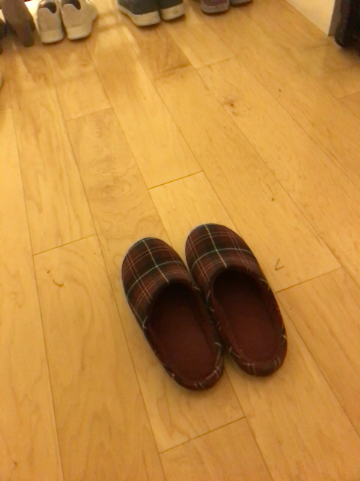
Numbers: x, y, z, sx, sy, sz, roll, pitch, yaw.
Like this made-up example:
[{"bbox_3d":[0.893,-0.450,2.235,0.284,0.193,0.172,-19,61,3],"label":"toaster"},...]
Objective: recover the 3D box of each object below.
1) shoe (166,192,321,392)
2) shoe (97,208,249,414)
[{"bbox_3d":[0.081,0.063,0.591,0.120,0.070,0.281,-18,53,-6],"label":"shoe"},{"bbox_3d":[-0.020,0.090,0.585,0.120,0.070,0.281,-22,54,-10],"label":"shoe"}]
